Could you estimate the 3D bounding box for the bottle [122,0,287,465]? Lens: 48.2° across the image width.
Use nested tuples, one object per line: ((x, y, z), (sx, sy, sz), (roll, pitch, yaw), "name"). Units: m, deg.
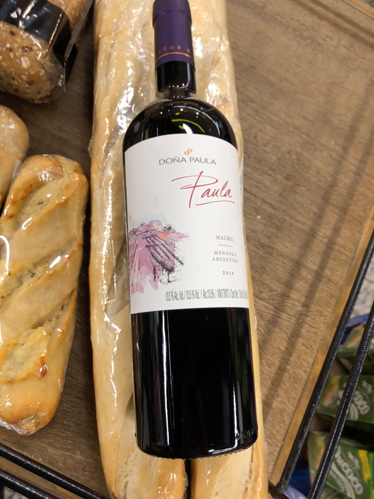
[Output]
((0.000, -0.039, 0.264), (0.070, 0.060, 0.300), (-1, 77, -11), "bottle")
